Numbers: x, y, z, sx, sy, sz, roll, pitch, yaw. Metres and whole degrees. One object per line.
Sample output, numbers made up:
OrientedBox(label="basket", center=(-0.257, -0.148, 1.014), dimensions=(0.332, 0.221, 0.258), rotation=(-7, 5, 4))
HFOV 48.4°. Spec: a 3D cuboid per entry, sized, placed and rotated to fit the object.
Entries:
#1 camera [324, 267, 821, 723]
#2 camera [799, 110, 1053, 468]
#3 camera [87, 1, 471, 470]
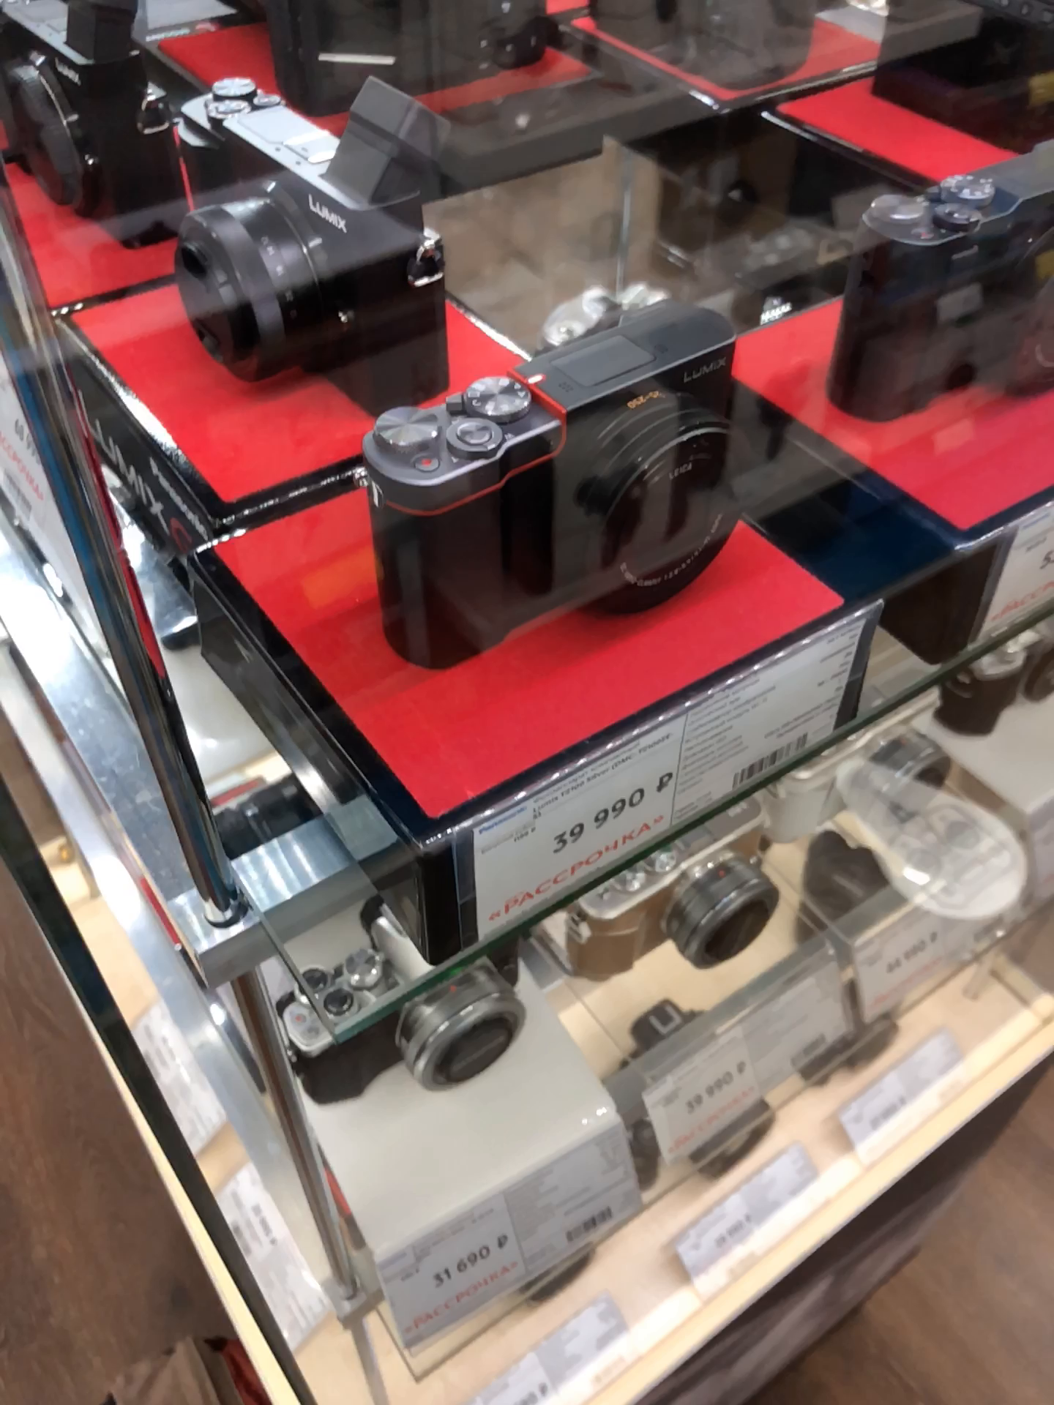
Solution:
OrientedBox(label="camera", center=(0.013, -0.057, 0.309), dimensions=(0.113, 0.070, 0.050), rotation=(-27, 53, -23))
OrientedBox(label="camera", center=(0.155, -0.136, 0.381), dimensions=(0.113, 0.070, 0.051), rotation=(-25, 52, -22))
OrientedBox(label="camera", center=(-0.081, -0.160, 0.397), dimensions=(0.069, 0.101, 0.113), rotation=(-28, 53, -24))
